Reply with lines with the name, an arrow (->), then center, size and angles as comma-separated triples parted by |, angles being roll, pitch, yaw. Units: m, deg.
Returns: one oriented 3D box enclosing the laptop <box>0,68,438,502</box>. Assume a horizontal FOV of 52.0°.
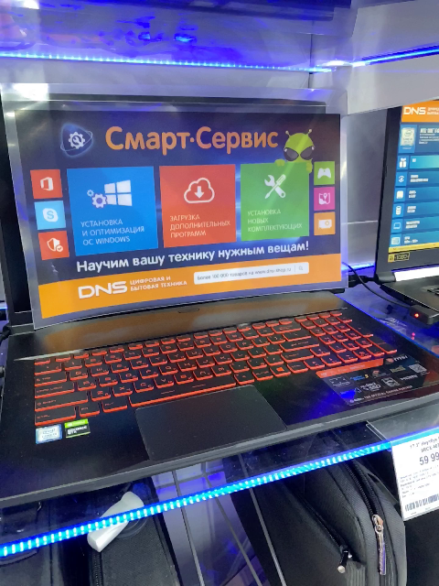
laptop -> 0.001, -0.057, 0.425 | 0.404, 0.237, 0.288 | -7, 22, -20
